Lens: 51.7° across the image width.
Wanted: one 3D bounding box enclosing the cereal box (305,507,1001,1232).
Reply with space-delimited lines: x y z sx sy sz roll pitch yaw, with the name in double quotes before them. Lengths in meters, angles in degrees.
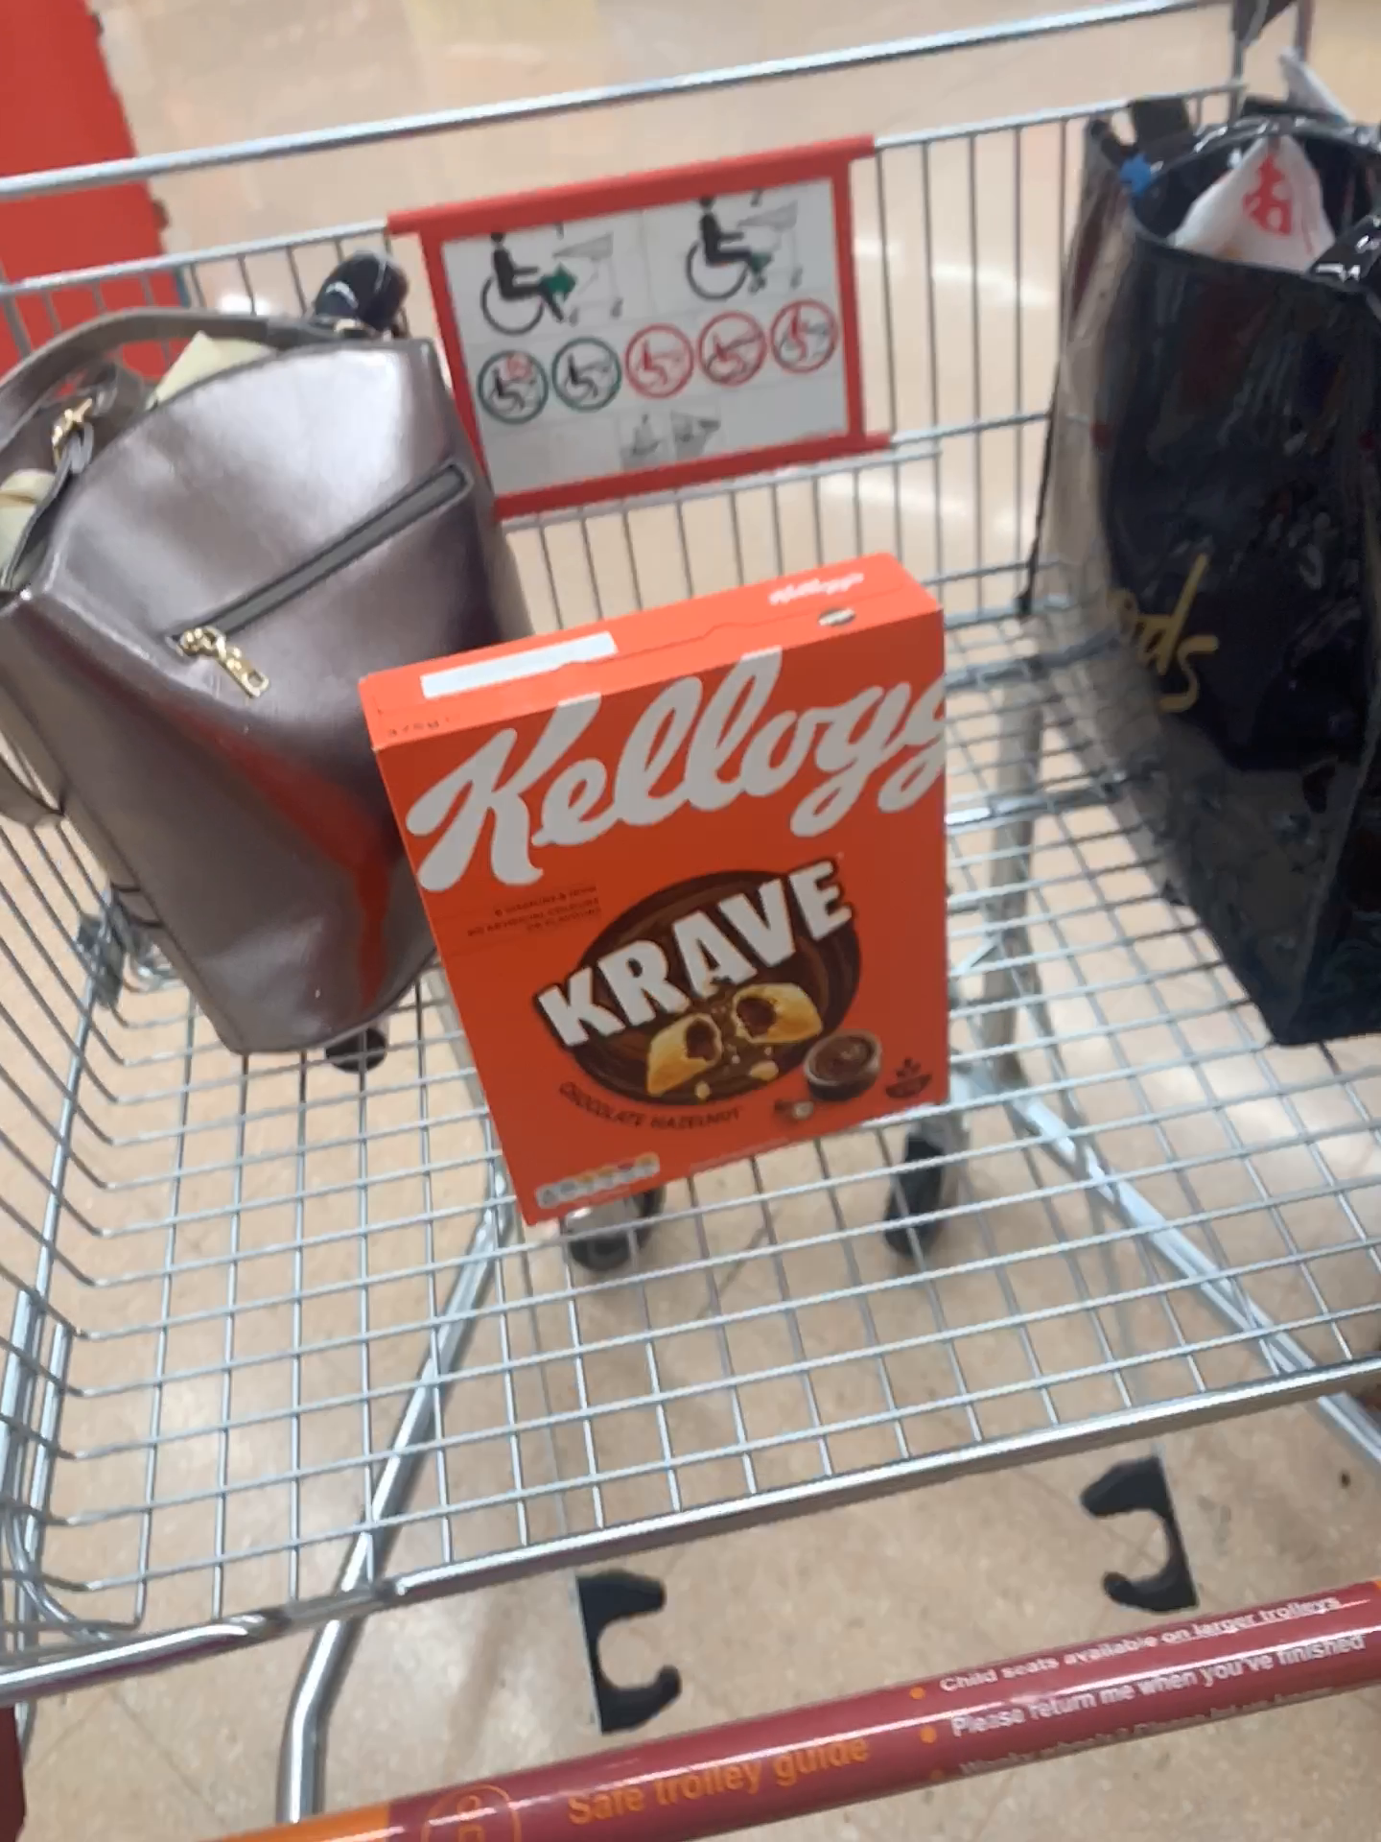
"cereal box" -0.001 -0.009 0.512 0.210 0.228 0.050 -15 40 -9
